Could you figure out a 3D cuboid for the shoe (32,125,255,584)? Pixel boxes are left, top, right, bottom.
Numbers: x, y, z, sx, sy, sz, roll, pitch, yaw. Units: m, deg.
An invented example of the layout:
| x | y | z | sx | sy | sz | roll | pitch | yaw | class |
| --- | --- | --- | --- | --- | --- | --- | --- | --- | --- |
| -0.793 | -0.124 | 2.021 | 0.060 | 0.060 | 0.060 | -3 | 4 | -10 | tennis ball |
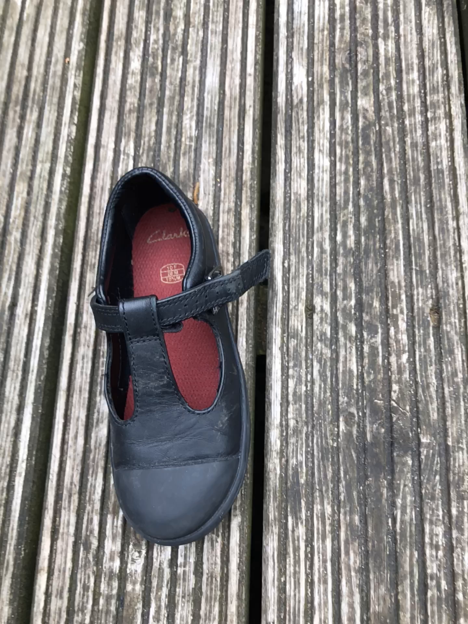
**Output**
| x | y | z | sx | sy | sz | roll | pitch | yaw | class |
| --- | --- | --- | --- | --- | --- | --- | --- | --- | --- |
| -0.034 | 0.018 | 0.261 | 0.080 | 0.080 | 0.193 | -2 | 76 | 9 | shoe |
